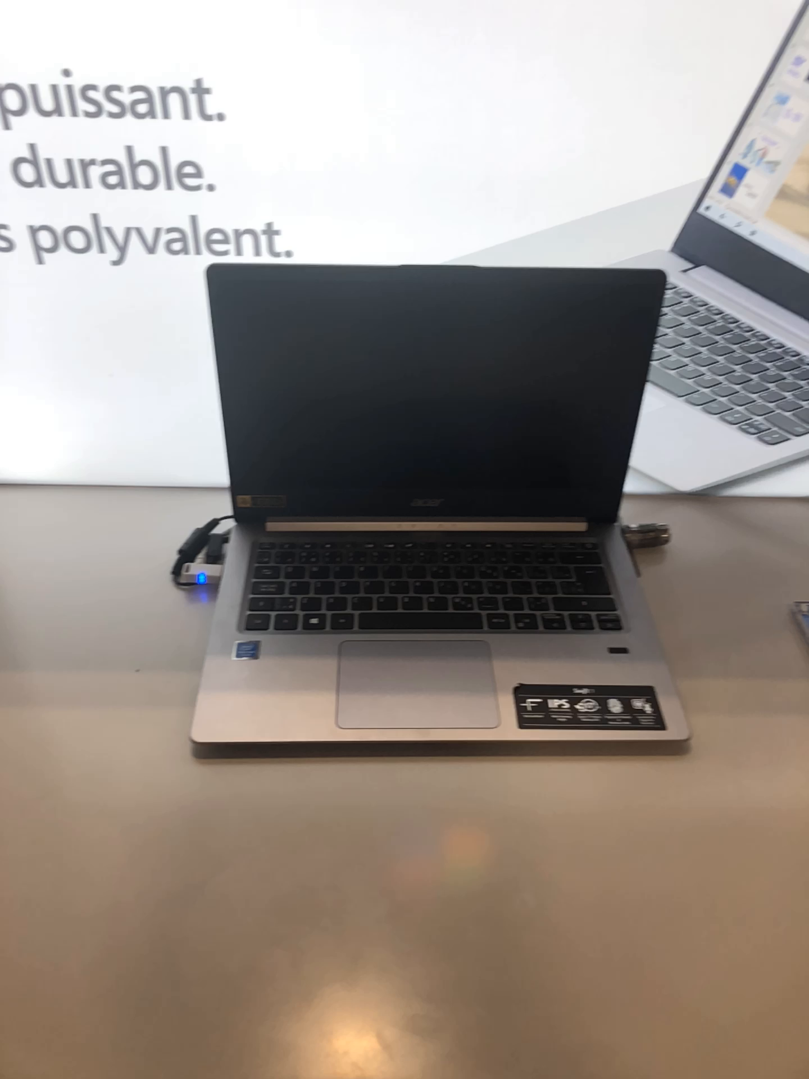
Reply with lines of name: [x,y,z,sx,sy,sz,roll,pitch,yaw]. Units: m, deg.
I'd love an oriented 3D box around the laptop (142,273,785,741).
laptop: [0.024,-0.028,0.583,0.311,0.210,0.227,0,38,-2]
